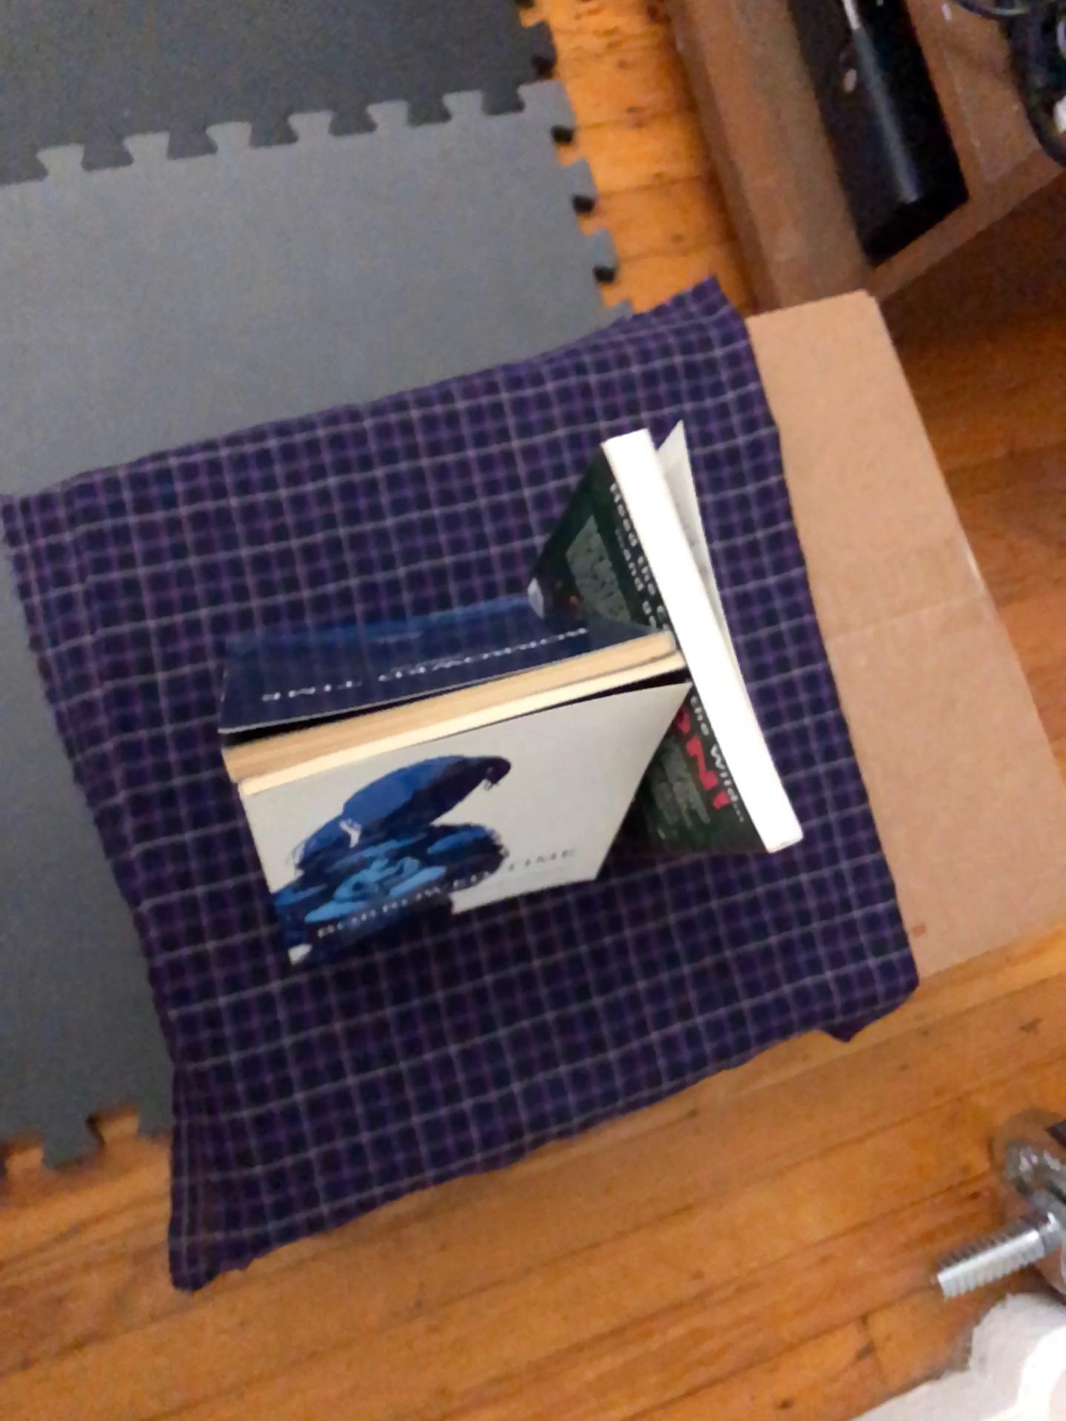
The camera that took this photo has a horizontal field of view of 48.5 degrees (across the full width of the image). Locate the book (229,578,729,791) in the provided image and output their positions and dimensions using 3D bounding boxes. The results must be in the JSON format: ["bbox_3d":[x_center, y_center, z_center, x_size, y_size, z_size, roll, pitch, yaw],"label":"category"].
[{"bbox_3d":[-0.037,-0.020,0.442,0.150,0.200,0.010,-13,105,-12],"label":"book"}]

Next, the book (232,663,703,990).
[{"bbox_3d":[-0.027,0.052,0.431,0.140,0.200,0.010,-16,67,-14],"label":"book"}]

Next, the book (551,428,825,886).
[{"bbox_3d":[0.048,-0.008,0.451,0.020,0.190,0.140,-18,86,-6],"label":"book"}]
